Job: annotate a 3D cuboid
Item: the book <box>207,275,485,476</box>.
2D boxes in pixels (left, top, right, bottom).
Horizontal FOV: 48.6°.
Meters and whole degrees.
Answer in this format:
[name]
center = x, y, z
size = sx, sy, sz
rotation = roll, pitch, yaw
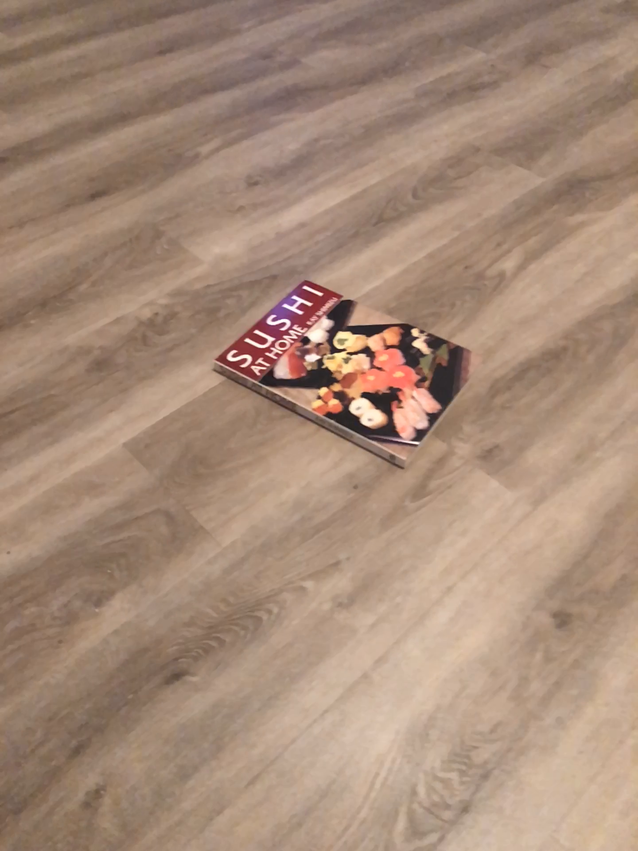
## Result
[book]
center = 0.032, -0.071, 0.823
size = 0.258, 0.030, 0.191
rotation = 27, 54, 22
